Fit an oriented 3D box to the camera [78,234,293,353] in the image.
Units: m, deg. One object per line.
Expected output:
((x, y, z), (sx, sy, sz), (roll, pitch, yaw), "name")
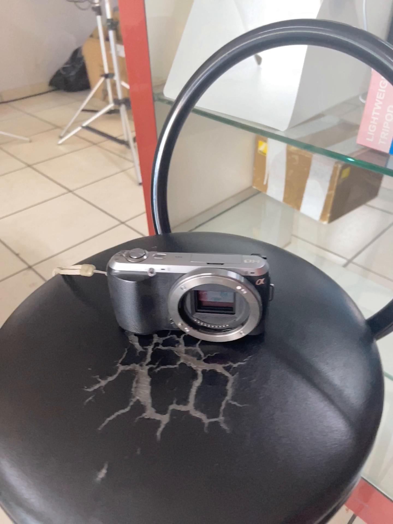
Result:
((-0.005, 0.020, 0.259), (0.120, 0.060, 0.040), (2, 37, 5), "camera")
